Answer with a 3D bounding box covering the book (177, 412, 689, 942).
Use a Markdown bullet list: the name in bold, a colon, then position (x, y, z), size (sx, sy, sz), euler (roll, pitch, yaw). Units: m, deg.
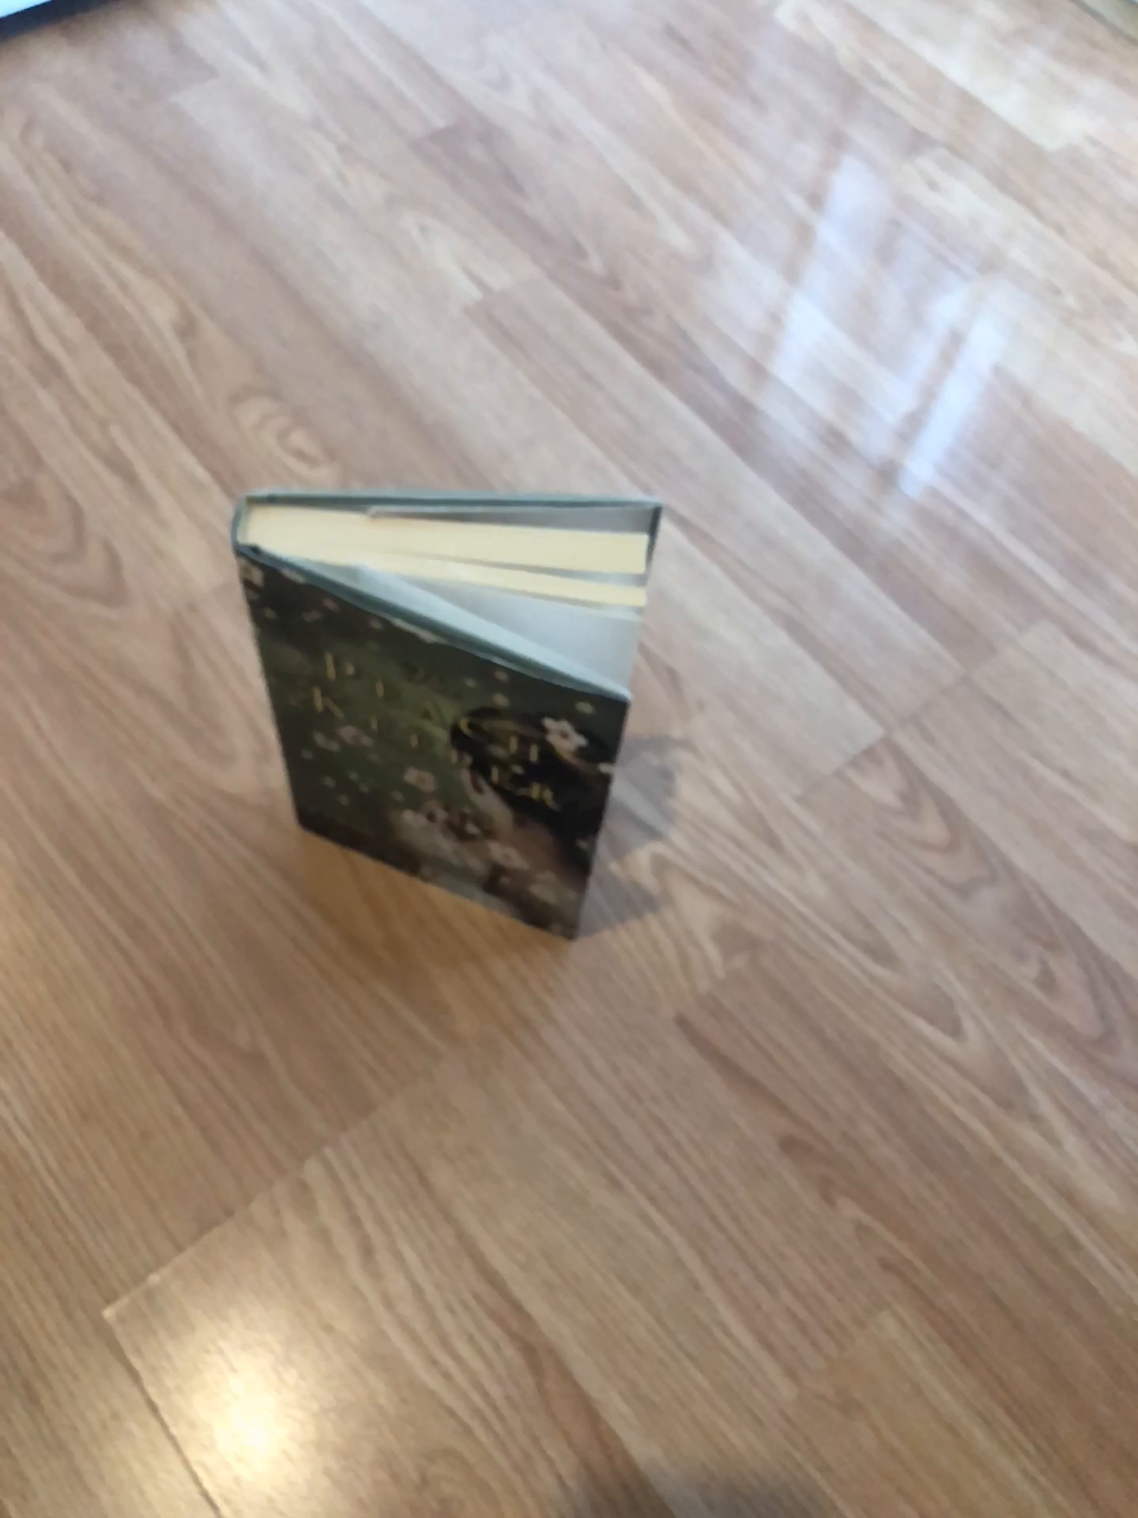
- **book**: position (-0.050, -0.016, 0.508), size (0.150, 0.220, 0.080), euler (11, 62, 0)
